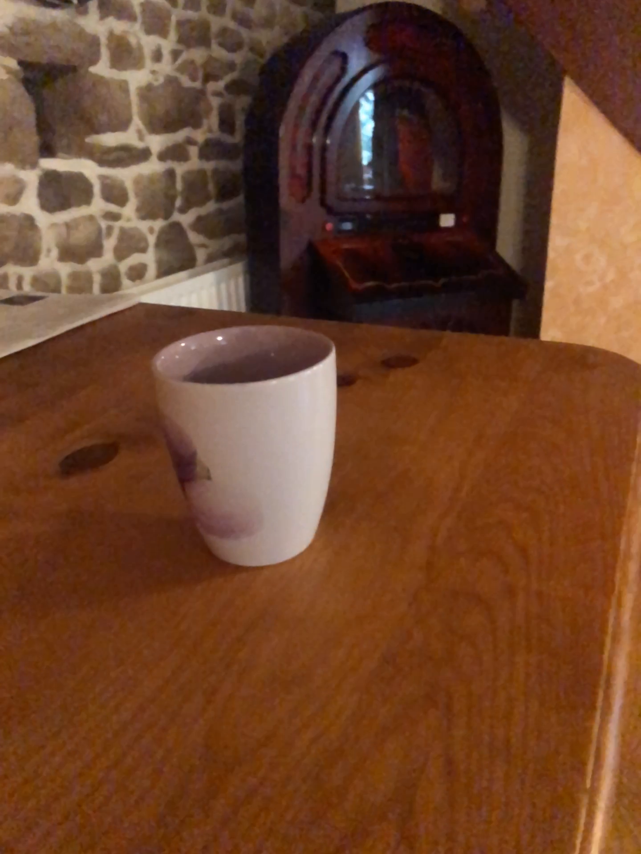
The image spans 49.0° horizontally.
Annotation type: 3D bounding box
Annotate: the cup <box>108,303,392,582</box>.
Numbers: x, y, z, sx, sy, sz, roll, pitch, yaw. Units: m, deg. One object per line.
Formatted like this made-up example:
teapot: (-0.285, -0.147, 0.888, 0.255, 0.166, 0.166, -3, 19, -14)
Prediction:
cup: (-0.039, -0.002, 0.382, 0.101, 0.095, 0.120, -17, 27, -32)
